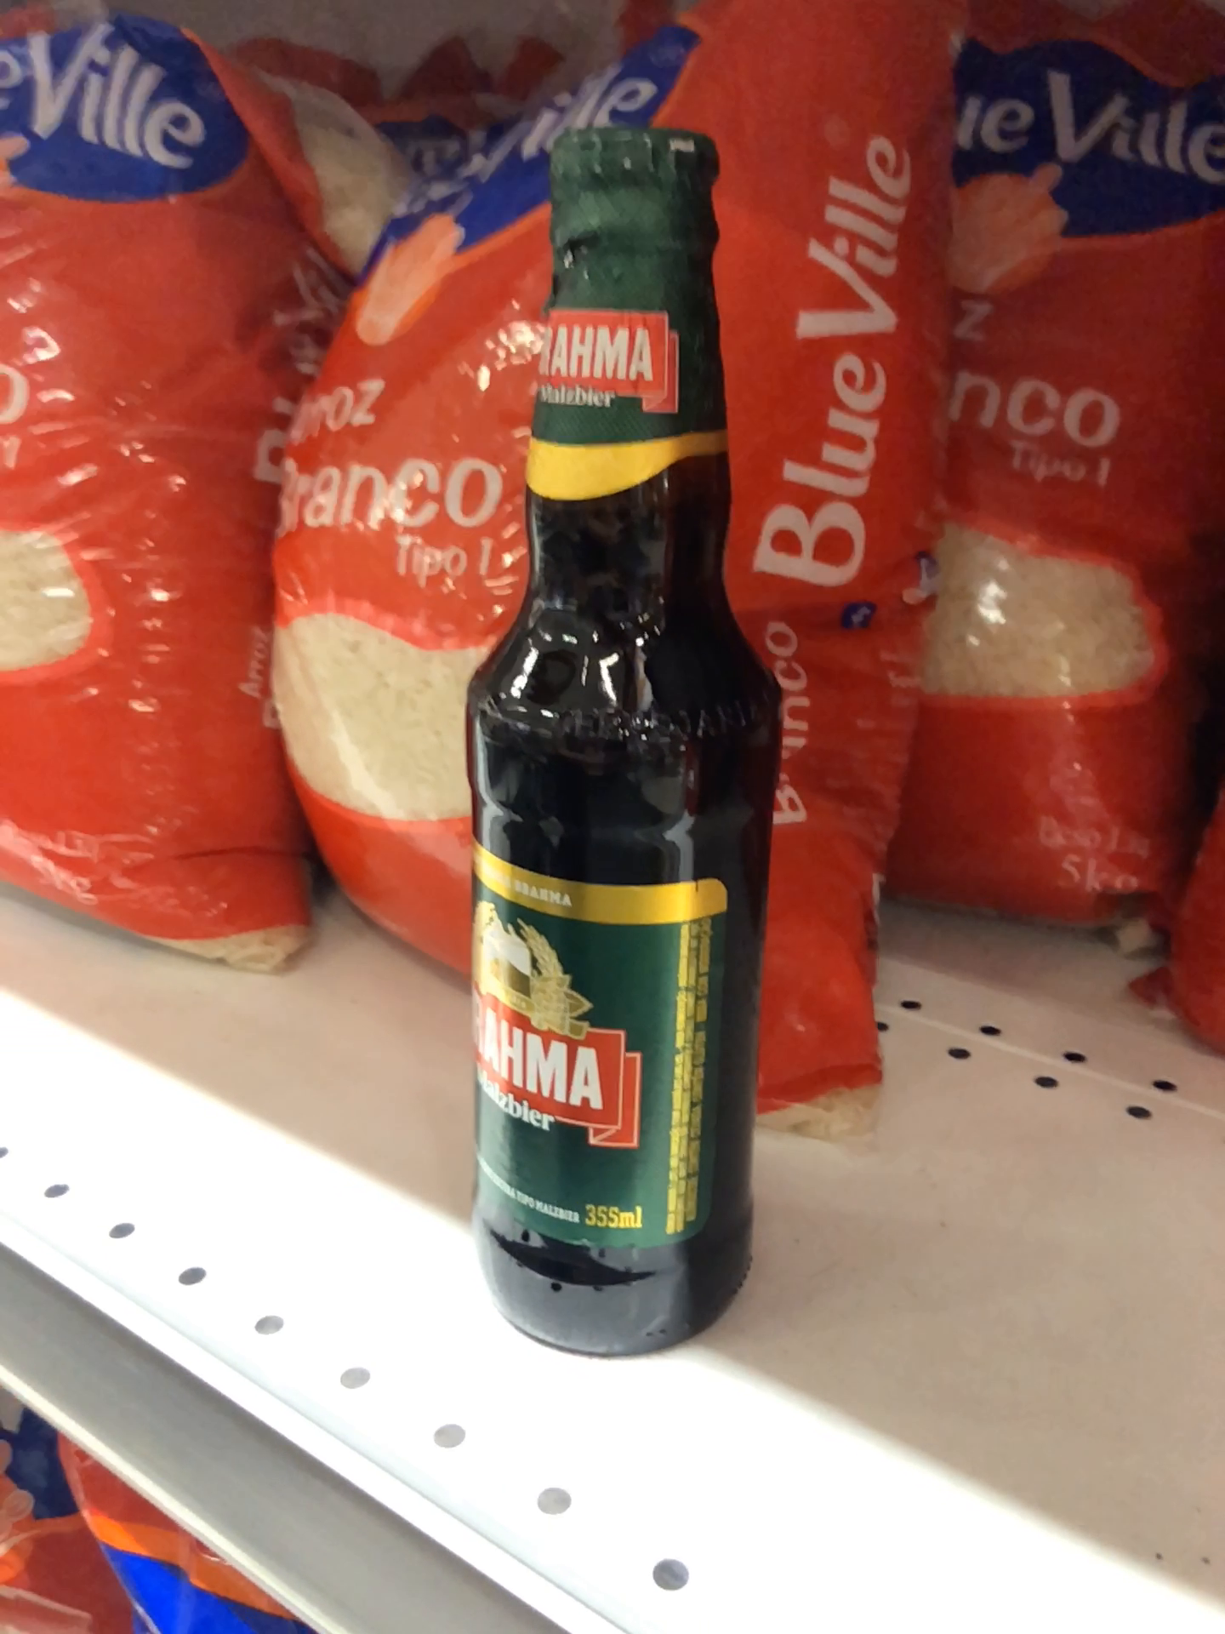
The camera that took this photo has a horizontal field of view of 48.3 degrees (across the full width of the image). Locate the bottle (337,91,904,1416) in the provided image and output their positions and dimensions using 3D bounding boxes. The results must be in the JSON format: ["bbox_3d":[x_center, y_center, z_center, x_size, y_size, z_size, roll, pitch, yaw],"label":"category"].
[{"bbox_3d":[0.002,-0.007,0.265,0.070,0.228,0.060,17,28,36],"label":"bottle"}]
